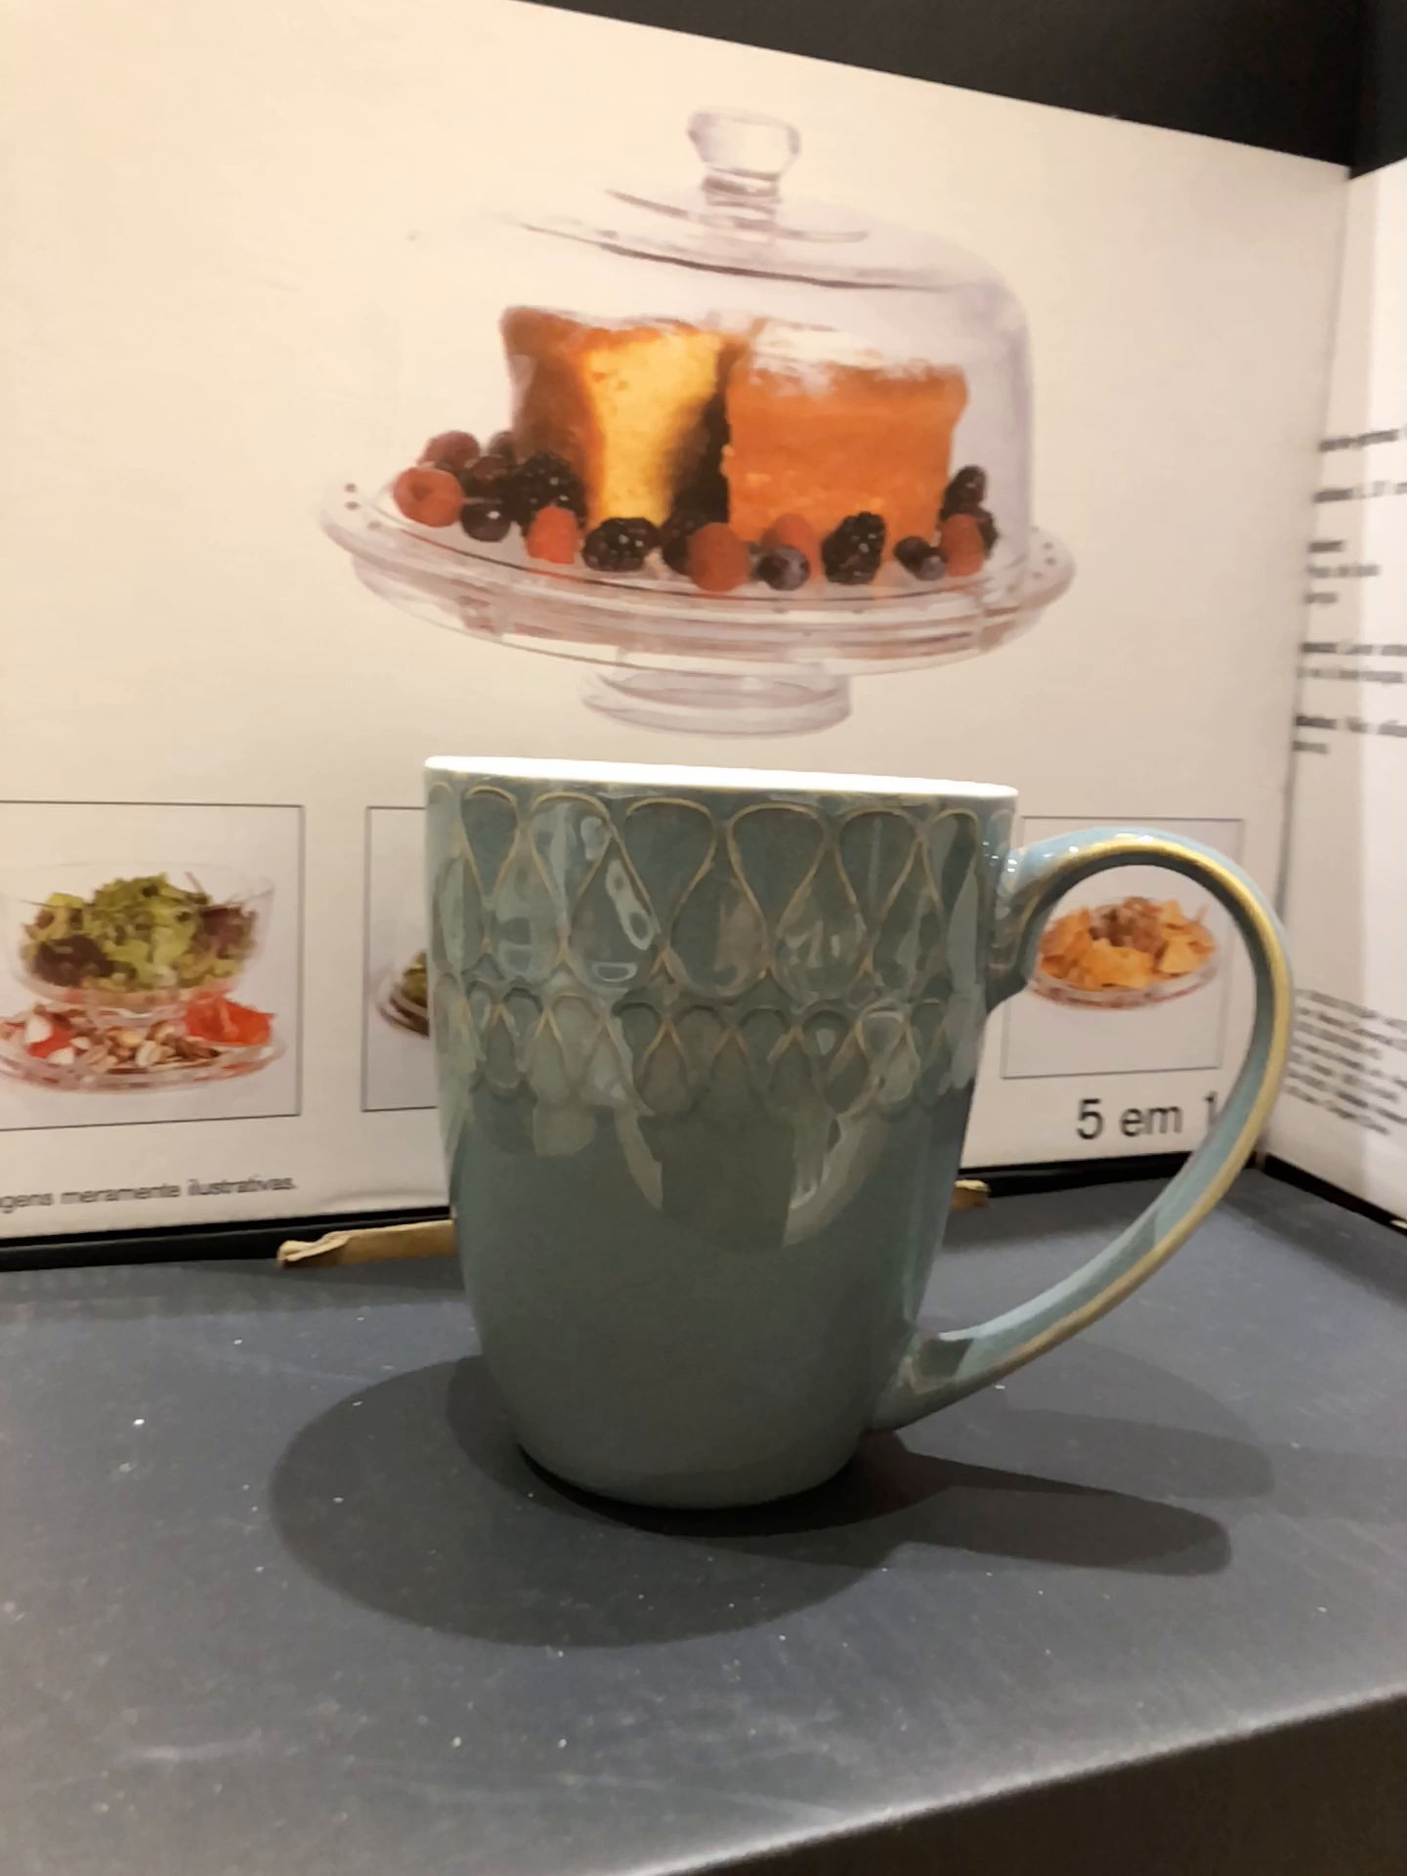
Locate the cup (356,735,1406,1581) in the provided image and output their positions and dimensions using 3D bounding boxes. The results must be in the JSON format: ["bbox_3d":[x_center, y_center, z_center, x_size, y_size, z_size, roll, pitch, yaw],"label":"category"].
[{"bbox_3d":[0.023,0.024,0.246,0.130,0.100,0.090,3,9,3],"label":"cup"}]
